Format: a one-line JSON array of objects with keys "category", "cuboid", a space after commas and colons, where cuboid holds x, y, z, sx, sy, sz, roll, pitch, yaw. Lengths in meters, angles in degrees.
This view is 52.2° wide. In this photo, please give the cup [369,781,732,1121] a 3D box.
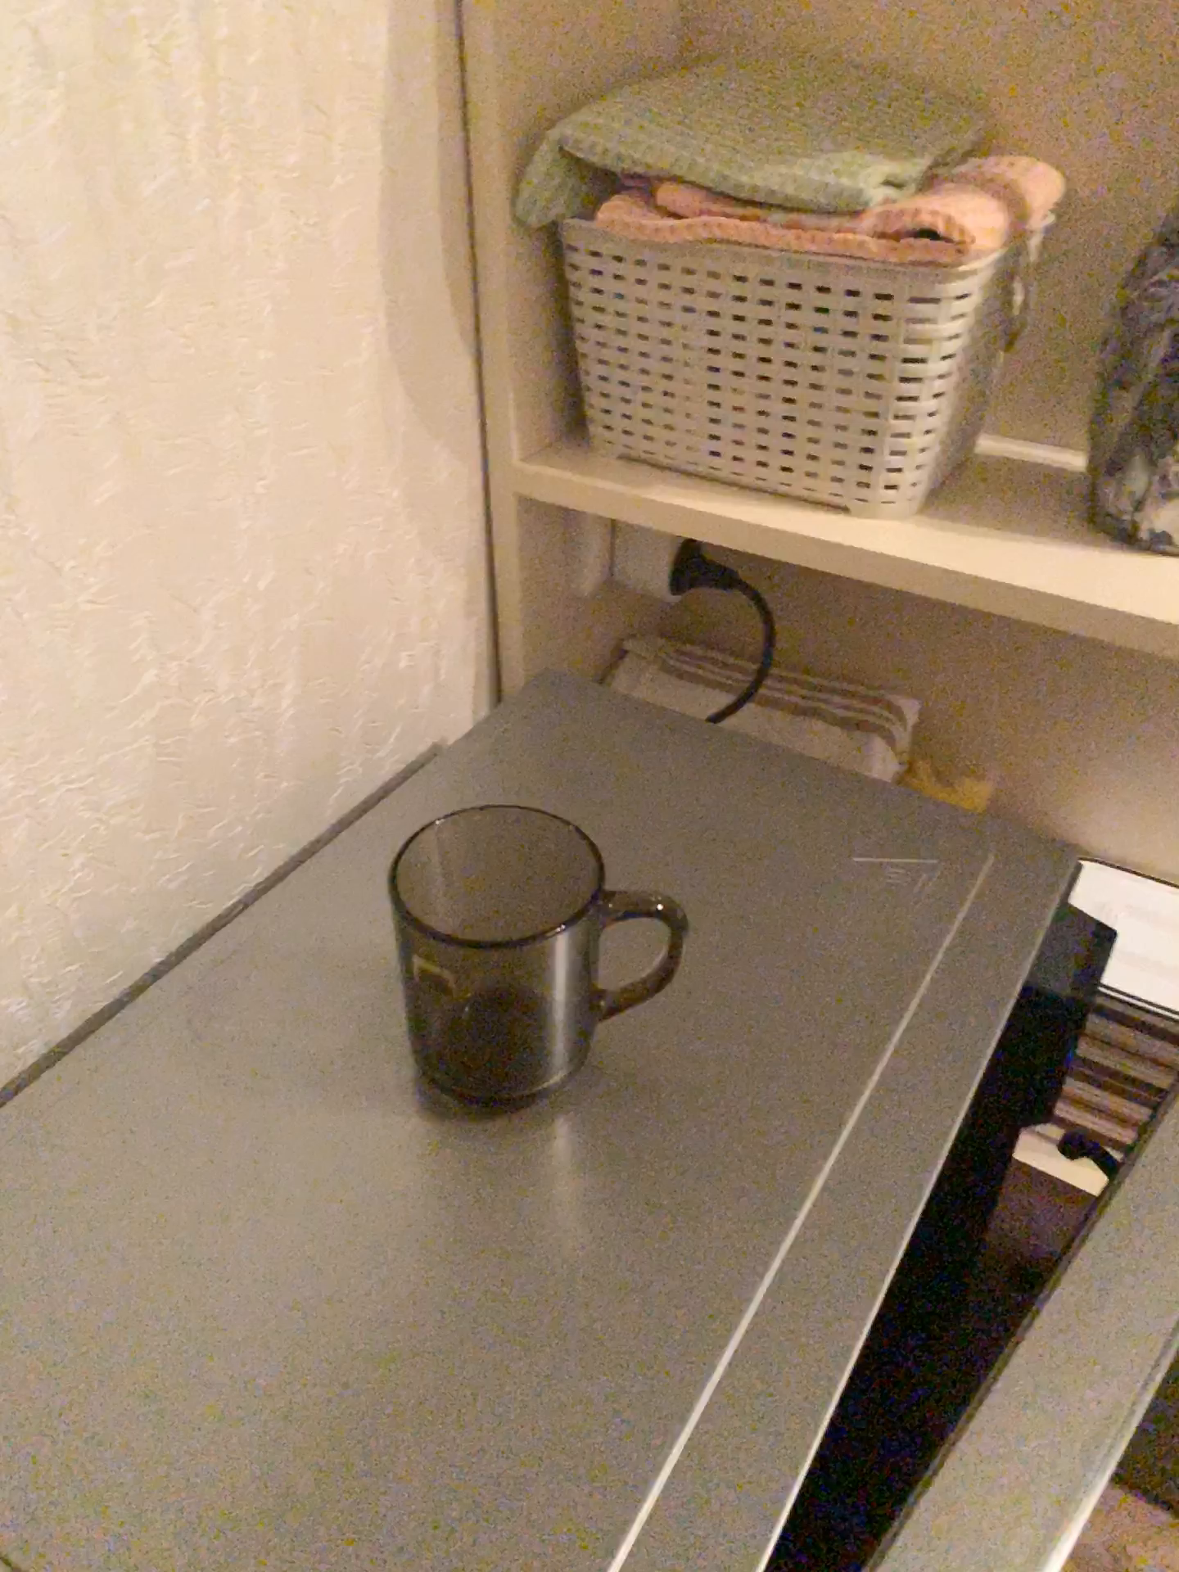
[{"category": "cup", "cuboid": [-0.014, 0.056, 0.421, 0.110, 0.079, 0.081, -2, 36, -3]}]
